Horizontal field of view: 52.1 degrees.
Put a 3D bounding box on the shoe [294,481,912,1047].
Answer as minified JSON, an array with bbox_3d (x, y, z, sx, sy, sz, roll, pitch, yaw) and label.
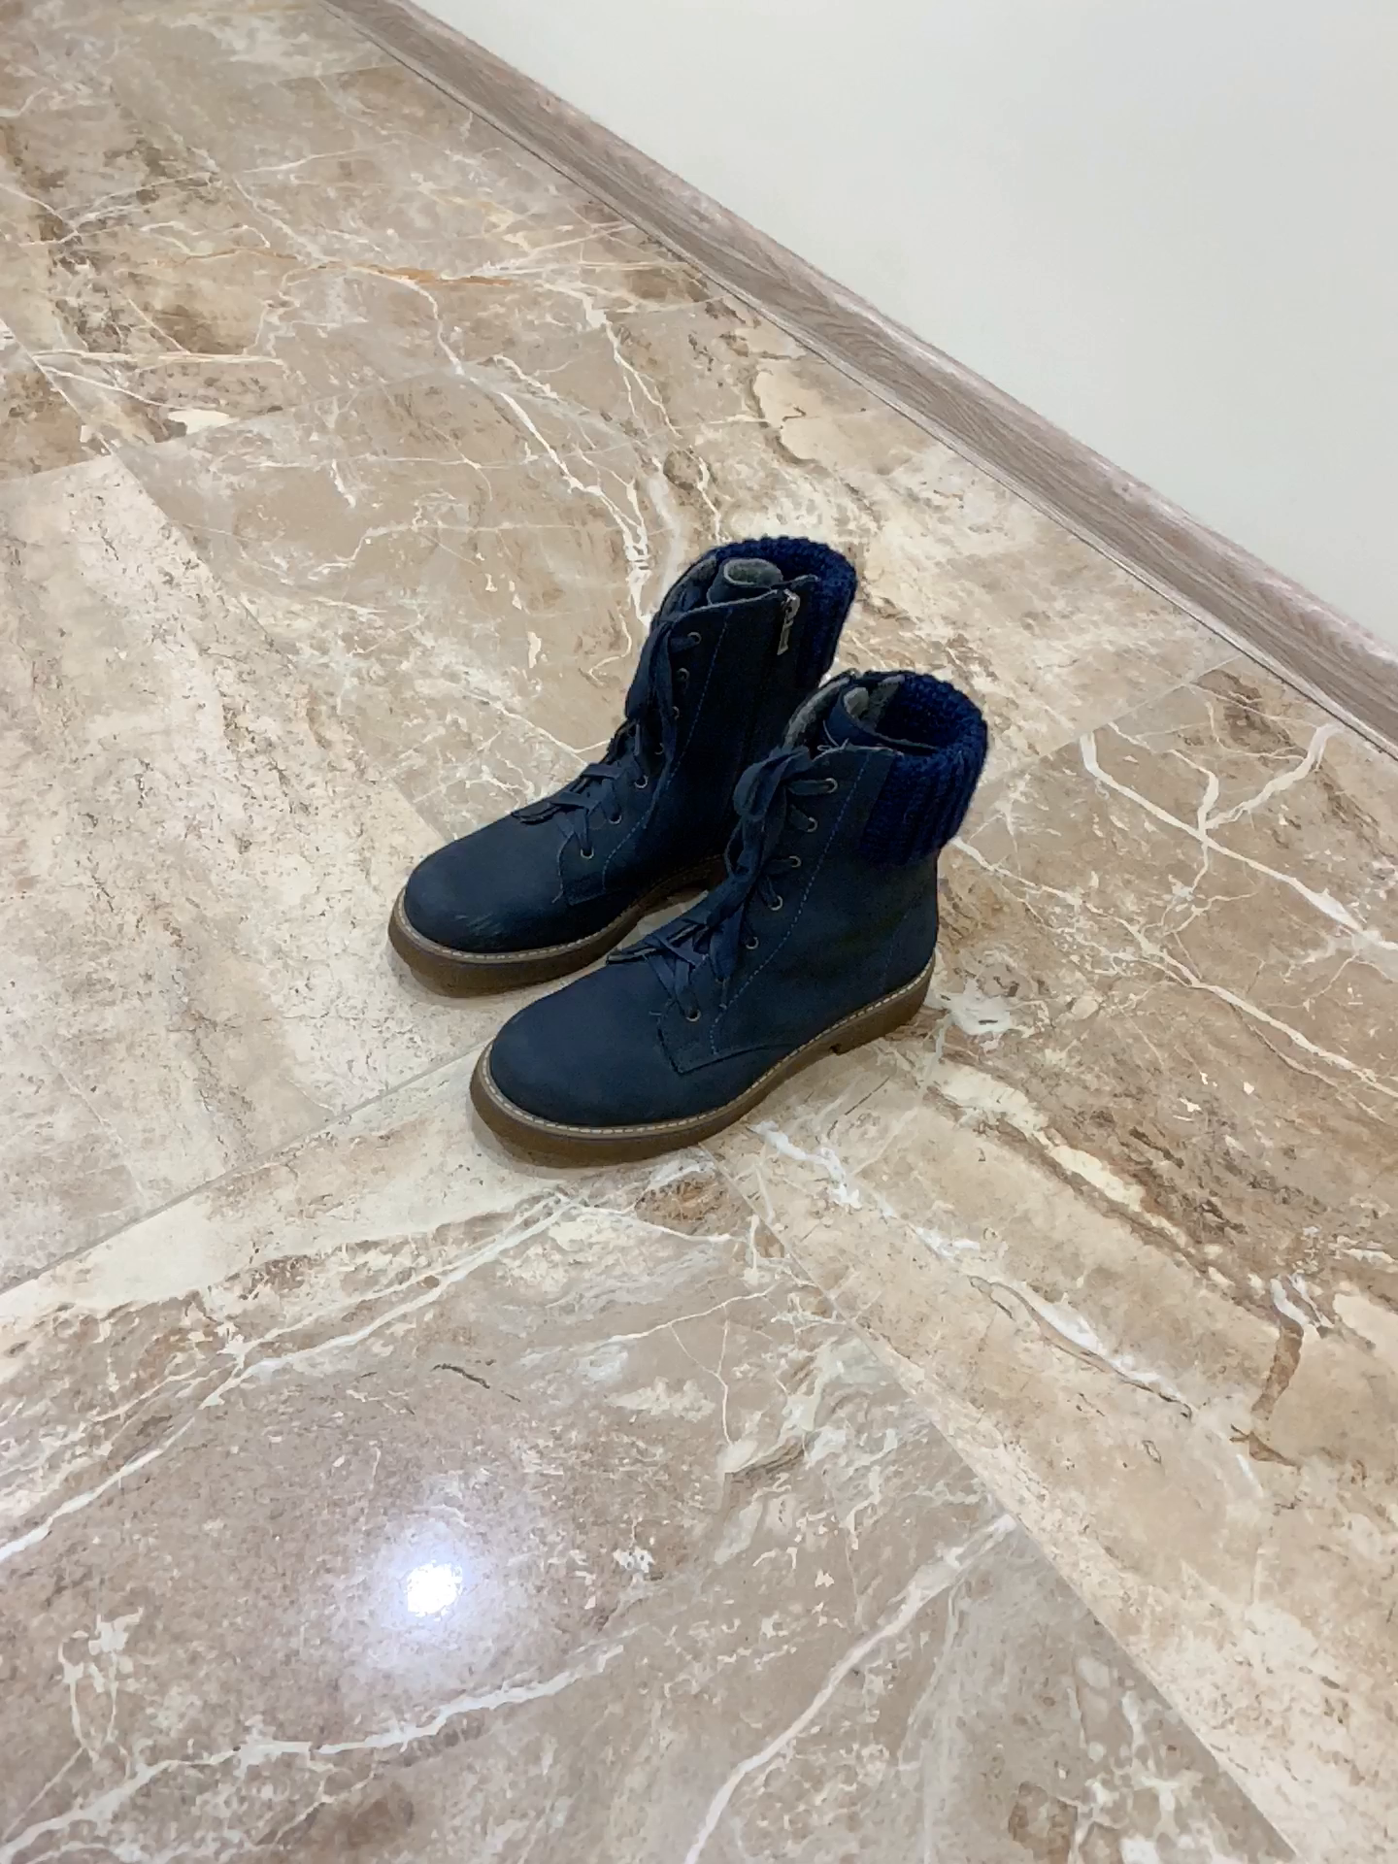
[{"bbox_3d":[-0.048,-0.085,0.717,0.260,0.199,0.102,-21,55,-24],"label":"shoe"}]

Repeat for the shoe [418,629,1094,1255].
[{"bbox_3d":[0.019,0.004,0.650,0.260,0.199,0.102,-21,55,-24],"label":"shoe"}]
